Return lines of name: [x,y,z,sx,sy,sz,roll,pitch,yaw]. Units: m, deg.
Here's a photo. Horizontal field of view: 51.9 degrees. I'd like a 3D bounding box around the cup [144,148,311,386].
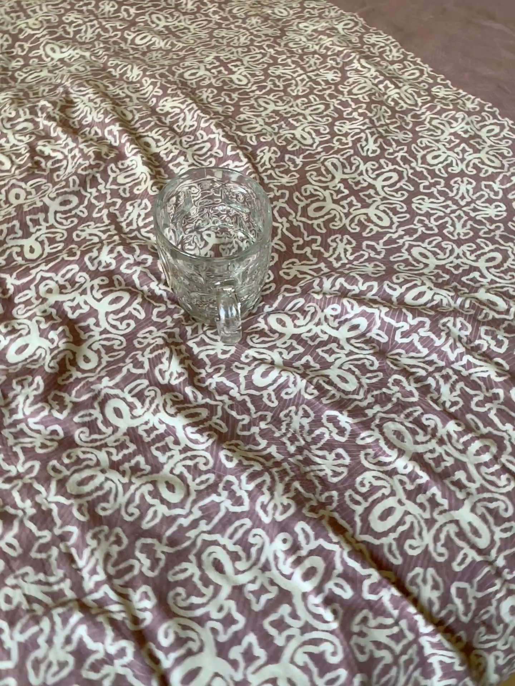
cup: [-0.025,-0.059,0.412,0.090,0.109,0.131,-12,55,-8]
